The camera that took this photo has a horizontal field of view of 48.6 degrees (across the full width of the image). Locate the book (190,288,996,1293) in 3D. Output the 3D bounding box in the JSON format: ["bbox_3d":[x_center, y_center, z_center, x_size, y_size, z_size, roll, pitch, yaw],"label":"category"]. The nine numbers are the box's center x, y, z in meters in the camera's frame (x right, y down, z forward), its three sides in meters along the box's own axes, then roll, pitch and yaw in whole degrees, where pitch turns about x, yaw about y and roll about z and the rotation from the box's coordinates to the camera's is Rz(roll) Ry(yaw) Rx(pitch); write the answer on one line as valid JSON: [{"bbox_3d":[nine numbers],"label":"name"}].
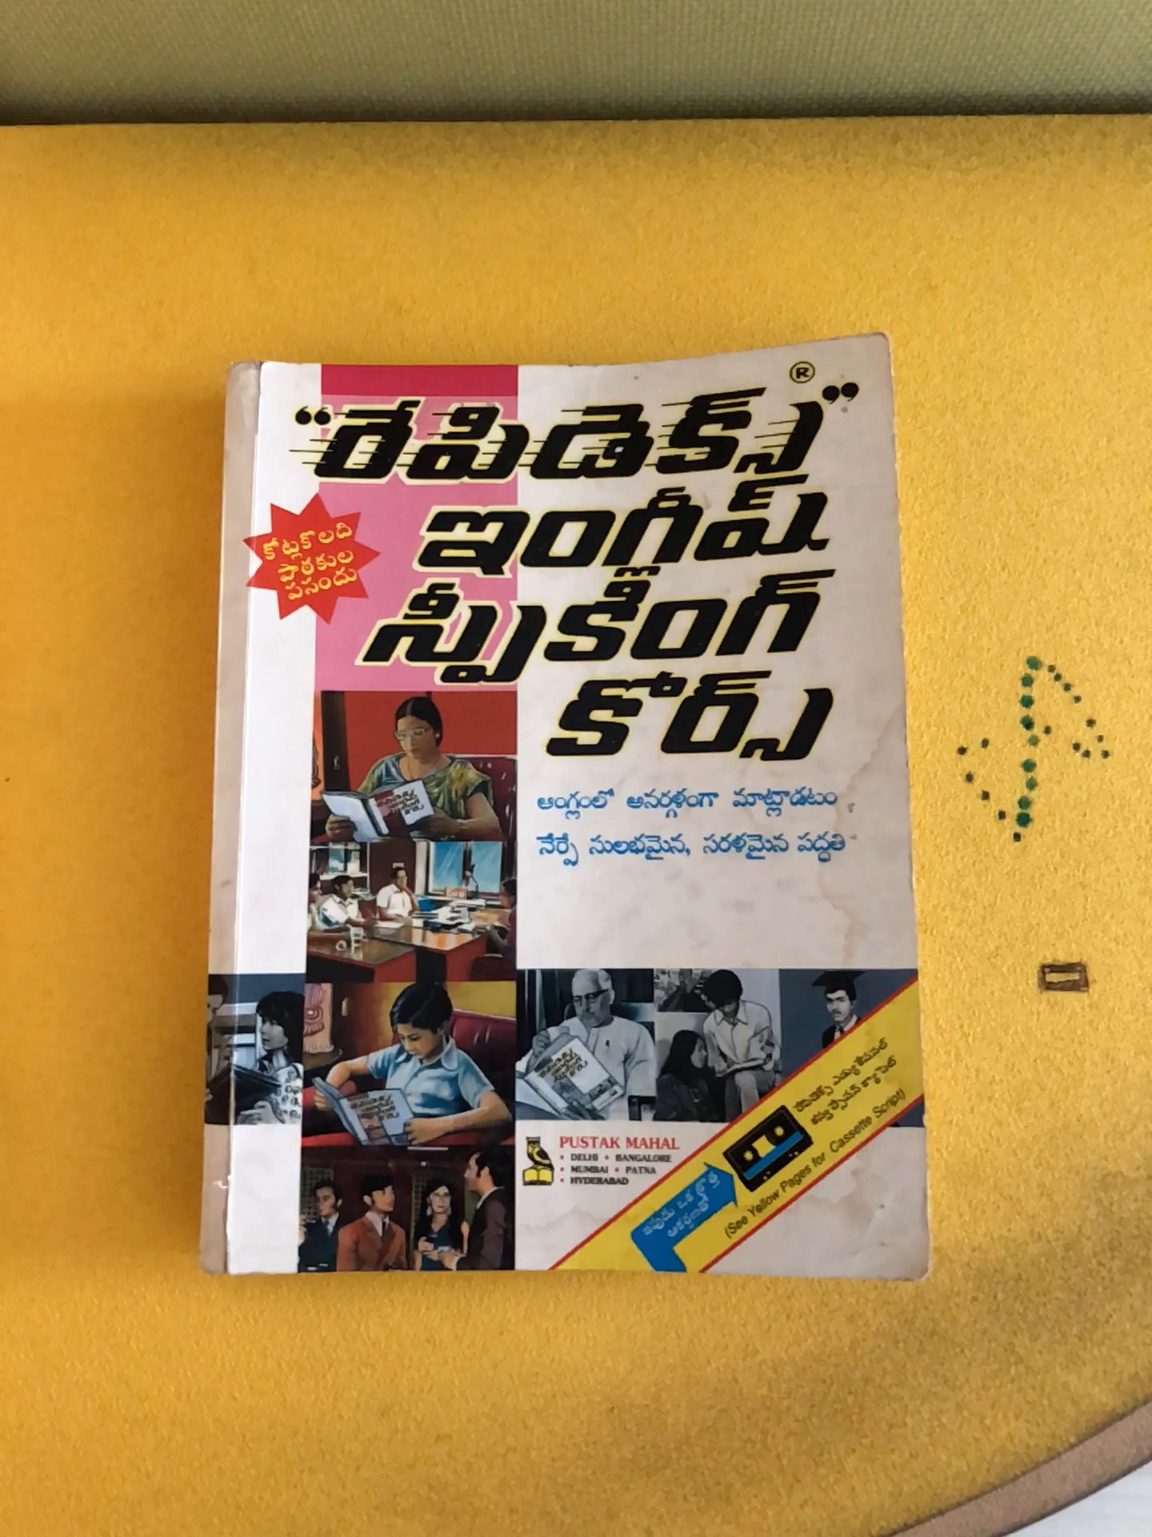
[{"bbox_3d":[0.002,0.001,0.335,0.190,0.030,0.250,-1,81,1],"label":"book"}]
